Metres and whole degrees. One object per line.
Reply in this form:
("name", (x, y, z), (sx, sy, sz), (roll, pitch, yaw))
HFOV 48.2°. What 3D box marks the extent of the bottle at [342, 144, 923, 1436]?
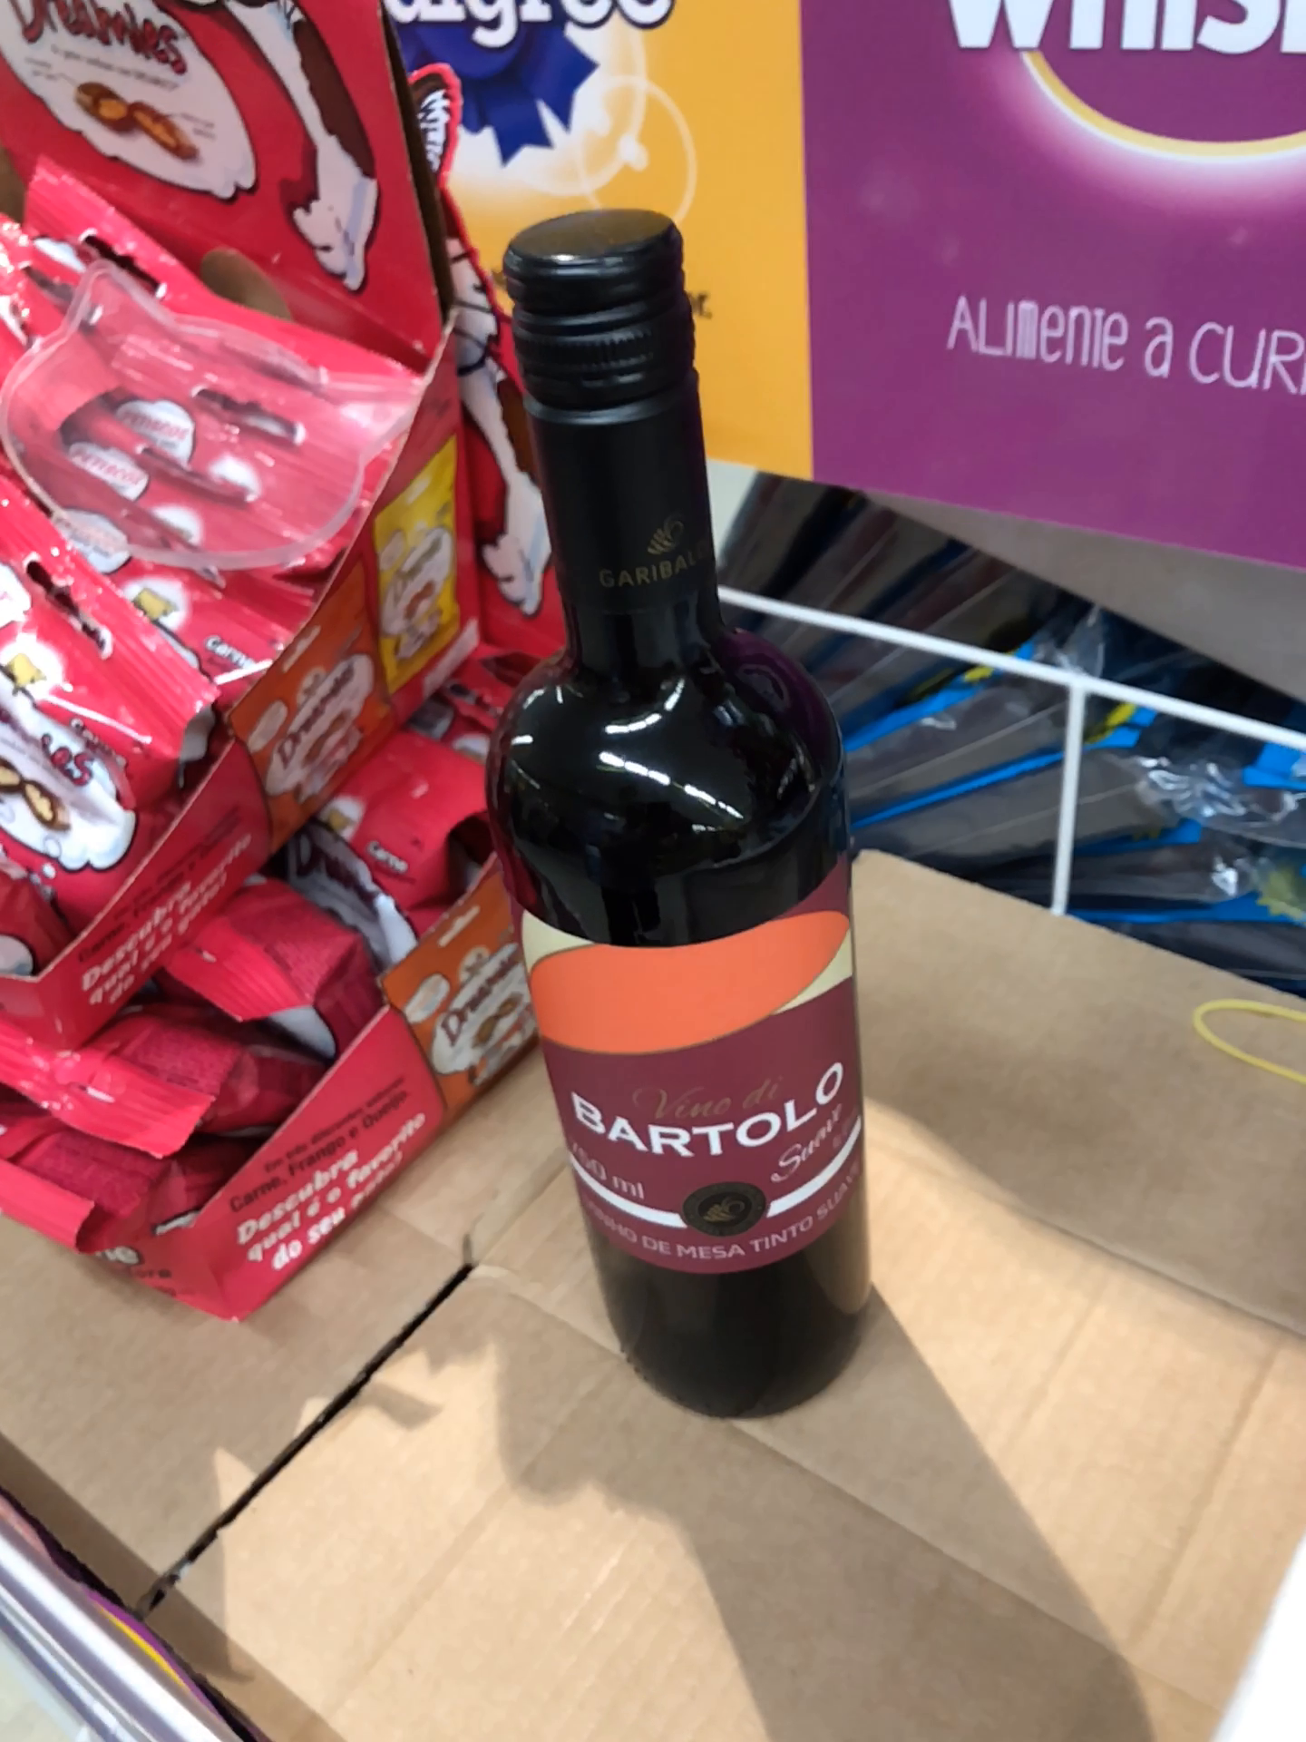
("bottle", (0.014, 0.014, 0.320), (0.080, 0.298, 0.061), (-5, 39, 4))
